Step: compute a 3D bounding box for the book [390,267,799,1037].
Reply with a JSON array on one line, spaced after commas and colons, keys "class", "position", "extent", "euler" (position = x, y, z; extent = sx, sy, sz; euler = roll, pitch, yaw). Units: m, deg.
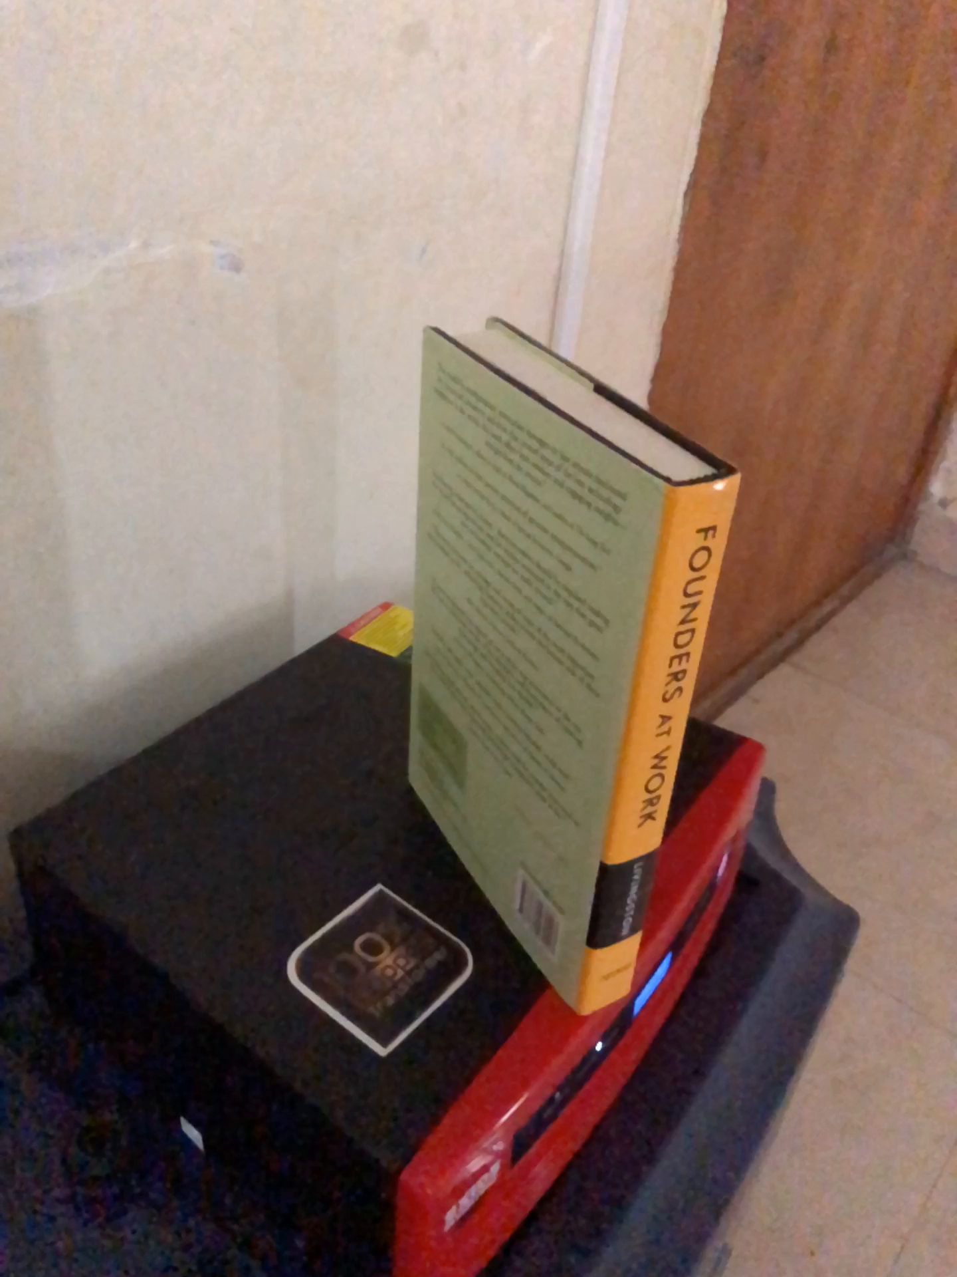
[{"class": "book", "position": [0.022, 0.004, 0.427], "extent": [0.040, 0.249, 0.181], "euler": [-12, 38, -24]}]
